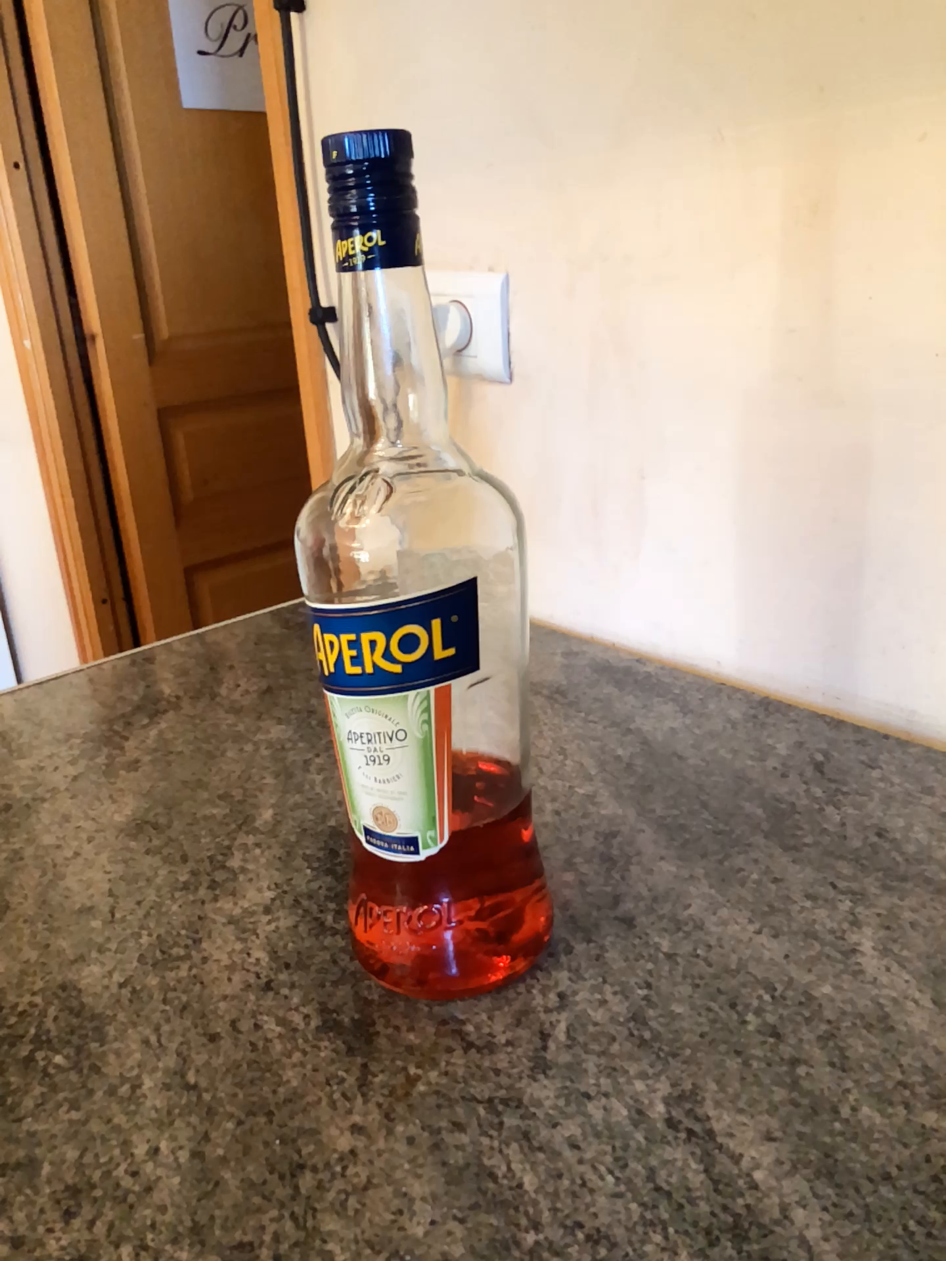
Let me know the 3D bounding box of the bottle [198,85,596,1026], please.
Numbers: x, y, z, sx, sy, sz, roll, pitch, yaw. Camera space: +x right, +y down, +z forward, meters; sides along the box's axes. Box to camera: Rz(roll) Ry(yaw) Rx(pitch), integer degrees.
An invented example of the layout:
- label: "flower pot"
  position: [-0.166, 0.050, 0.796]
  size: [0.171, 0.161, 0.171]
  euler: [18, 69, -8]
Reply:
- label: "bottle"
  position: [-0.017, -0.021, 0.408]
  size: [0.090, 0.329, 0.090]
  euler: [-4, 19, 1]
